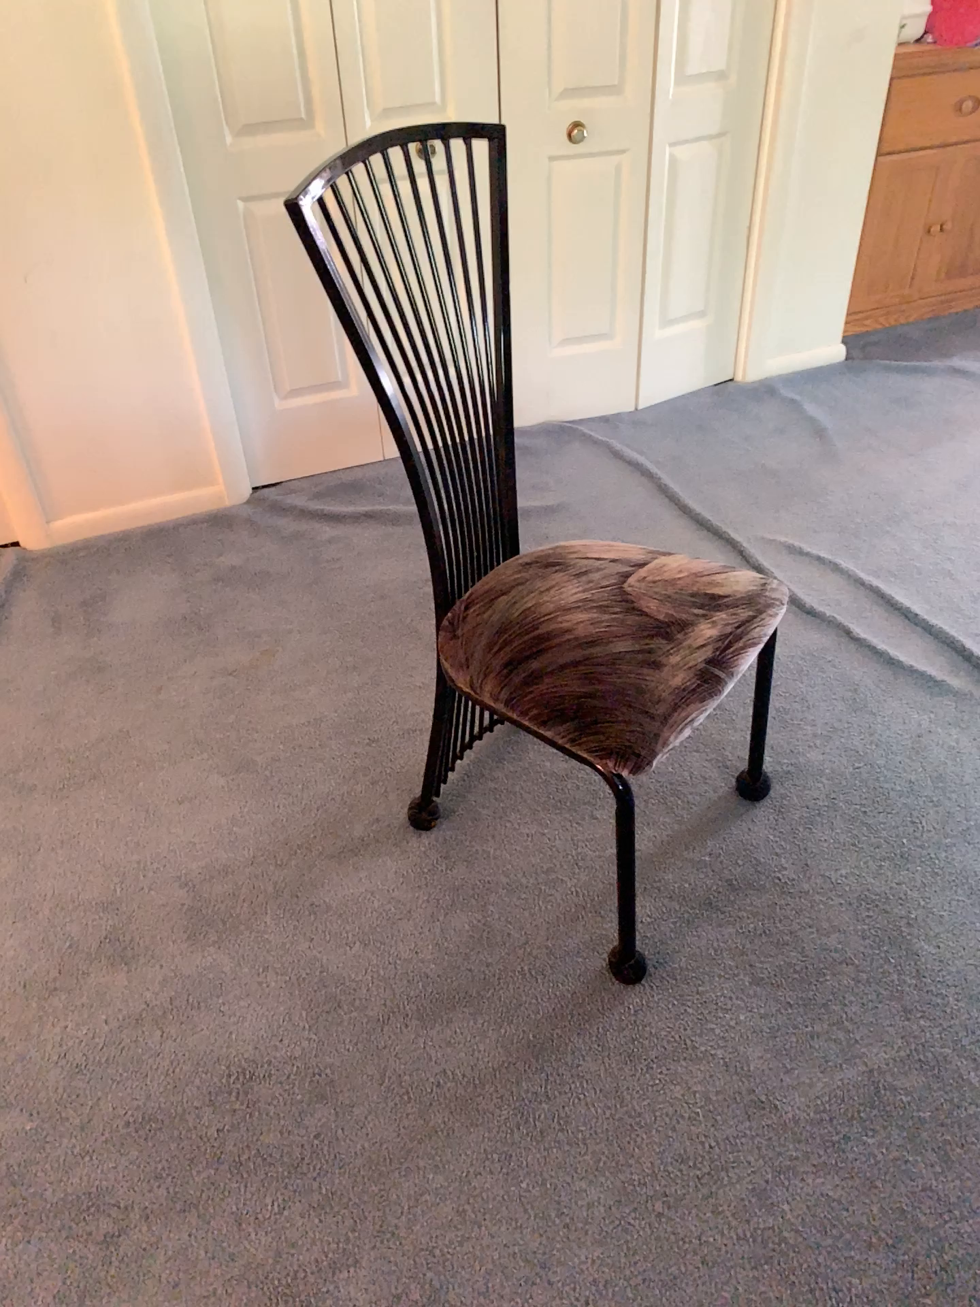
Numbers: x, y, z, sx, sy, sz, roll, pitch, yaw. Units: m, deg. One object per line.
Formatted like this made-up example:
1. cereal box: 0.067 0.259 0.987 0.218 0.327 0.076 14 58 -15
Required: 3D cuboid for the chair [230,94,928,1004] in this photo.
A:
1. chair: 0.123 -0.136 1.328 0.541 0.974 0.512 21 43 27
